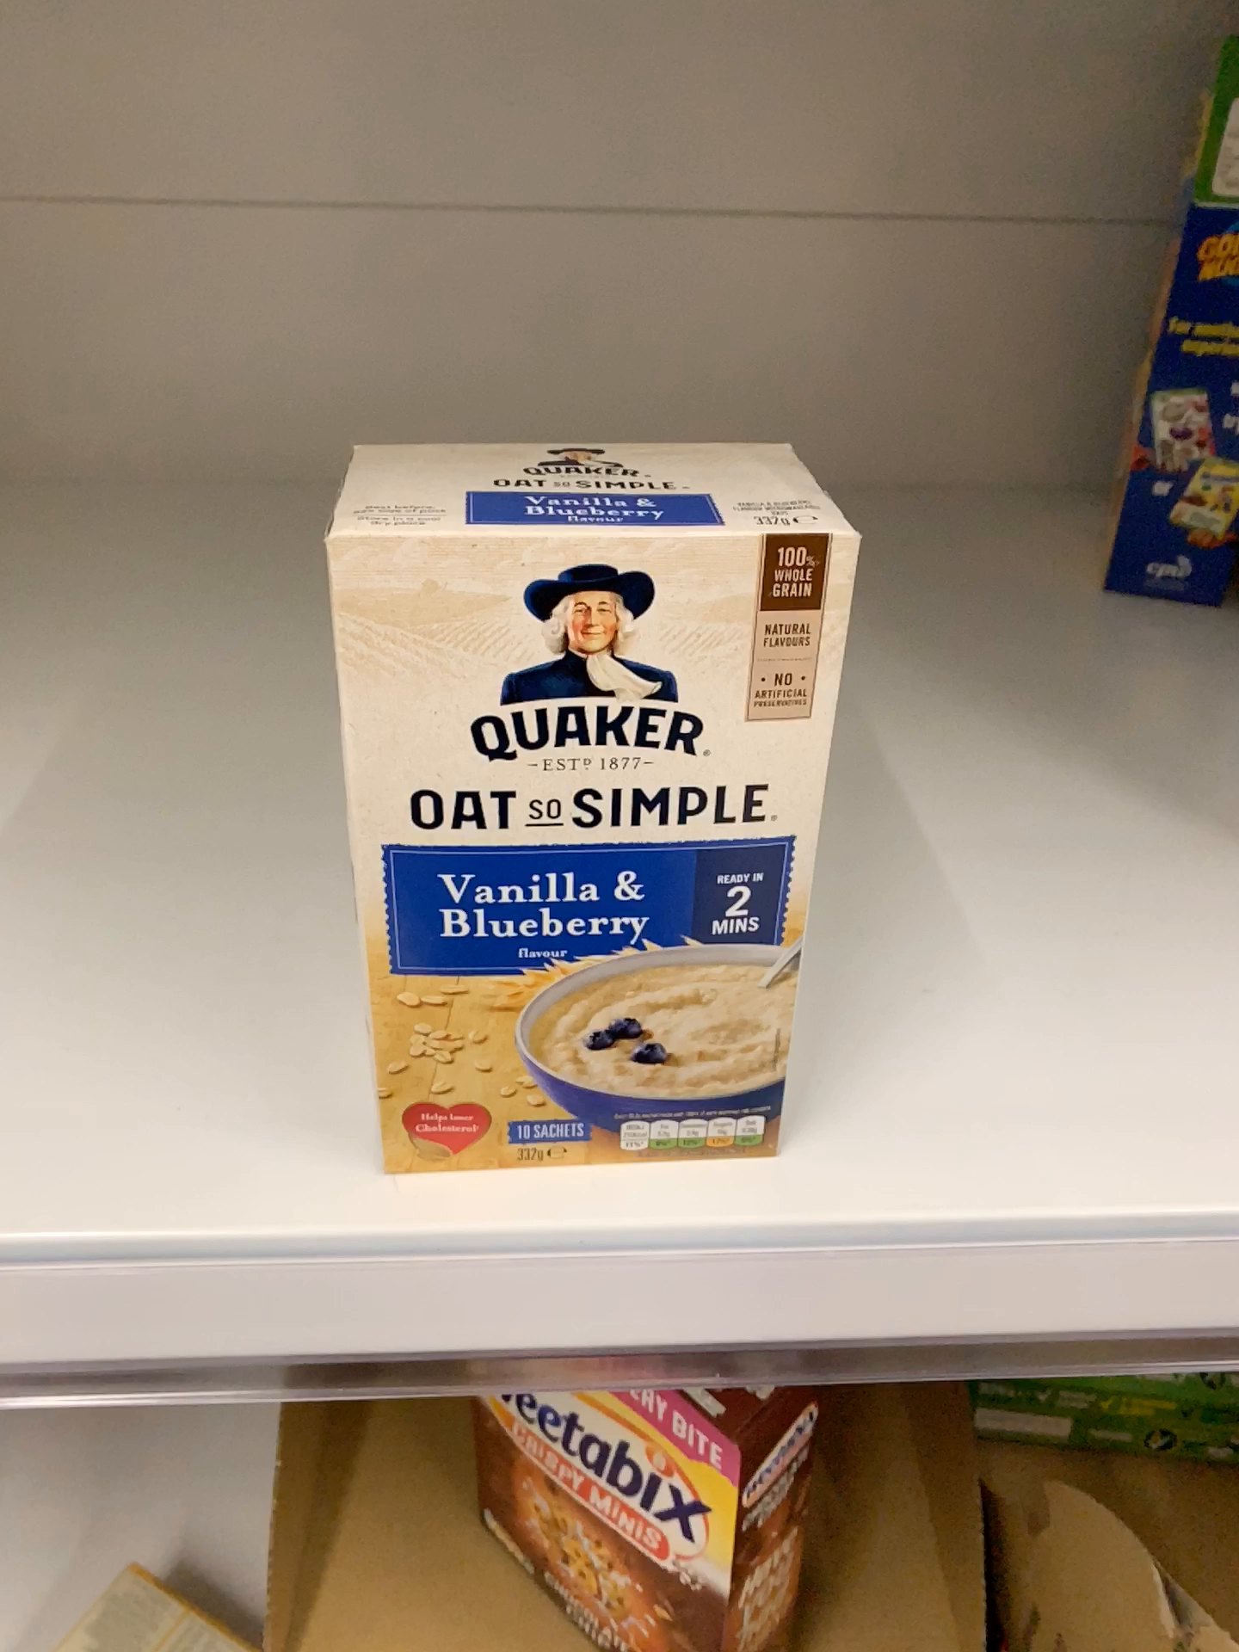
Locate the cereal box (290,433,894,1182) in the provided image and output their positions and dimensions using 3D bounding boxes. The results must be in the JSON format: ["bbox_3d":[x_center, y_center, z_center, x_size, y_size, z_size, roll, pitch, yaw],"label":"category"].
[{"bbox_3d":[-0.011,-0.001,0.384,0.140,0.208,0.081,-1,31,-5],"label":"cereal box"}]
